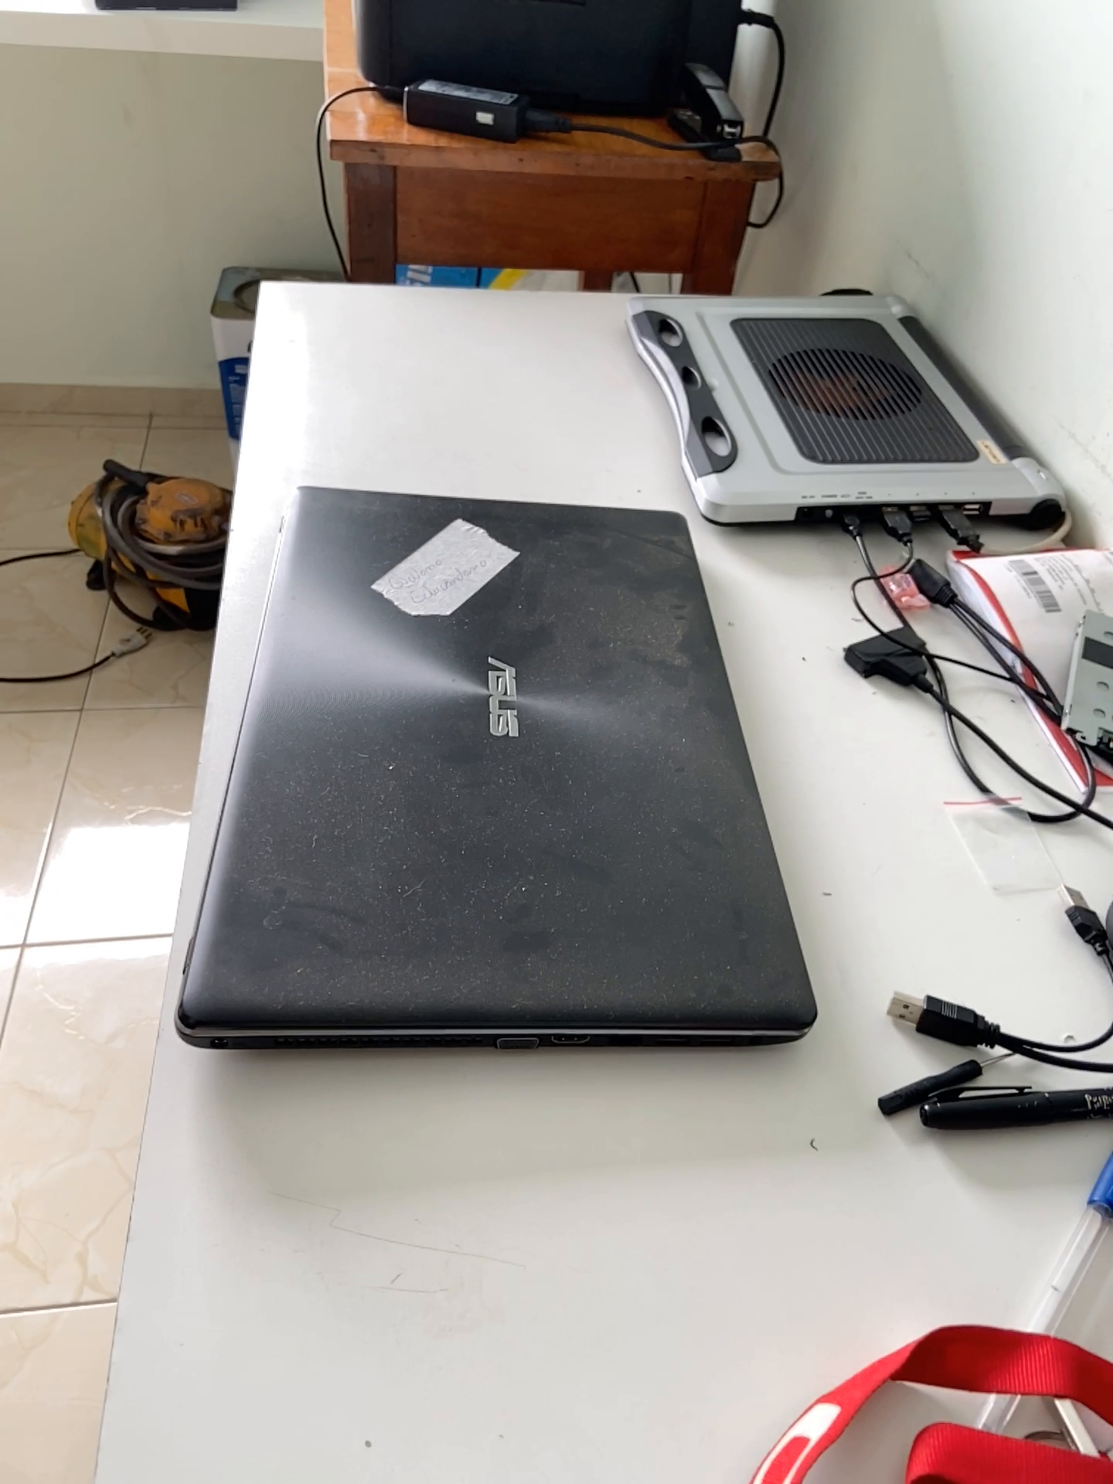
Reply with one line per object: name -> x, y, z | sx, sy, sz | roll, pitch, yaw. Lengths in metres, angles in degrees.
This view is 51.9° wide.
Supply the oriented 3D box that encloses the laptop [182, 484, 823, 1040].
laptop -> -0.030, -0.020, 0.589 | 0.250, 0.007, 0.387 | 2, 43, -7
